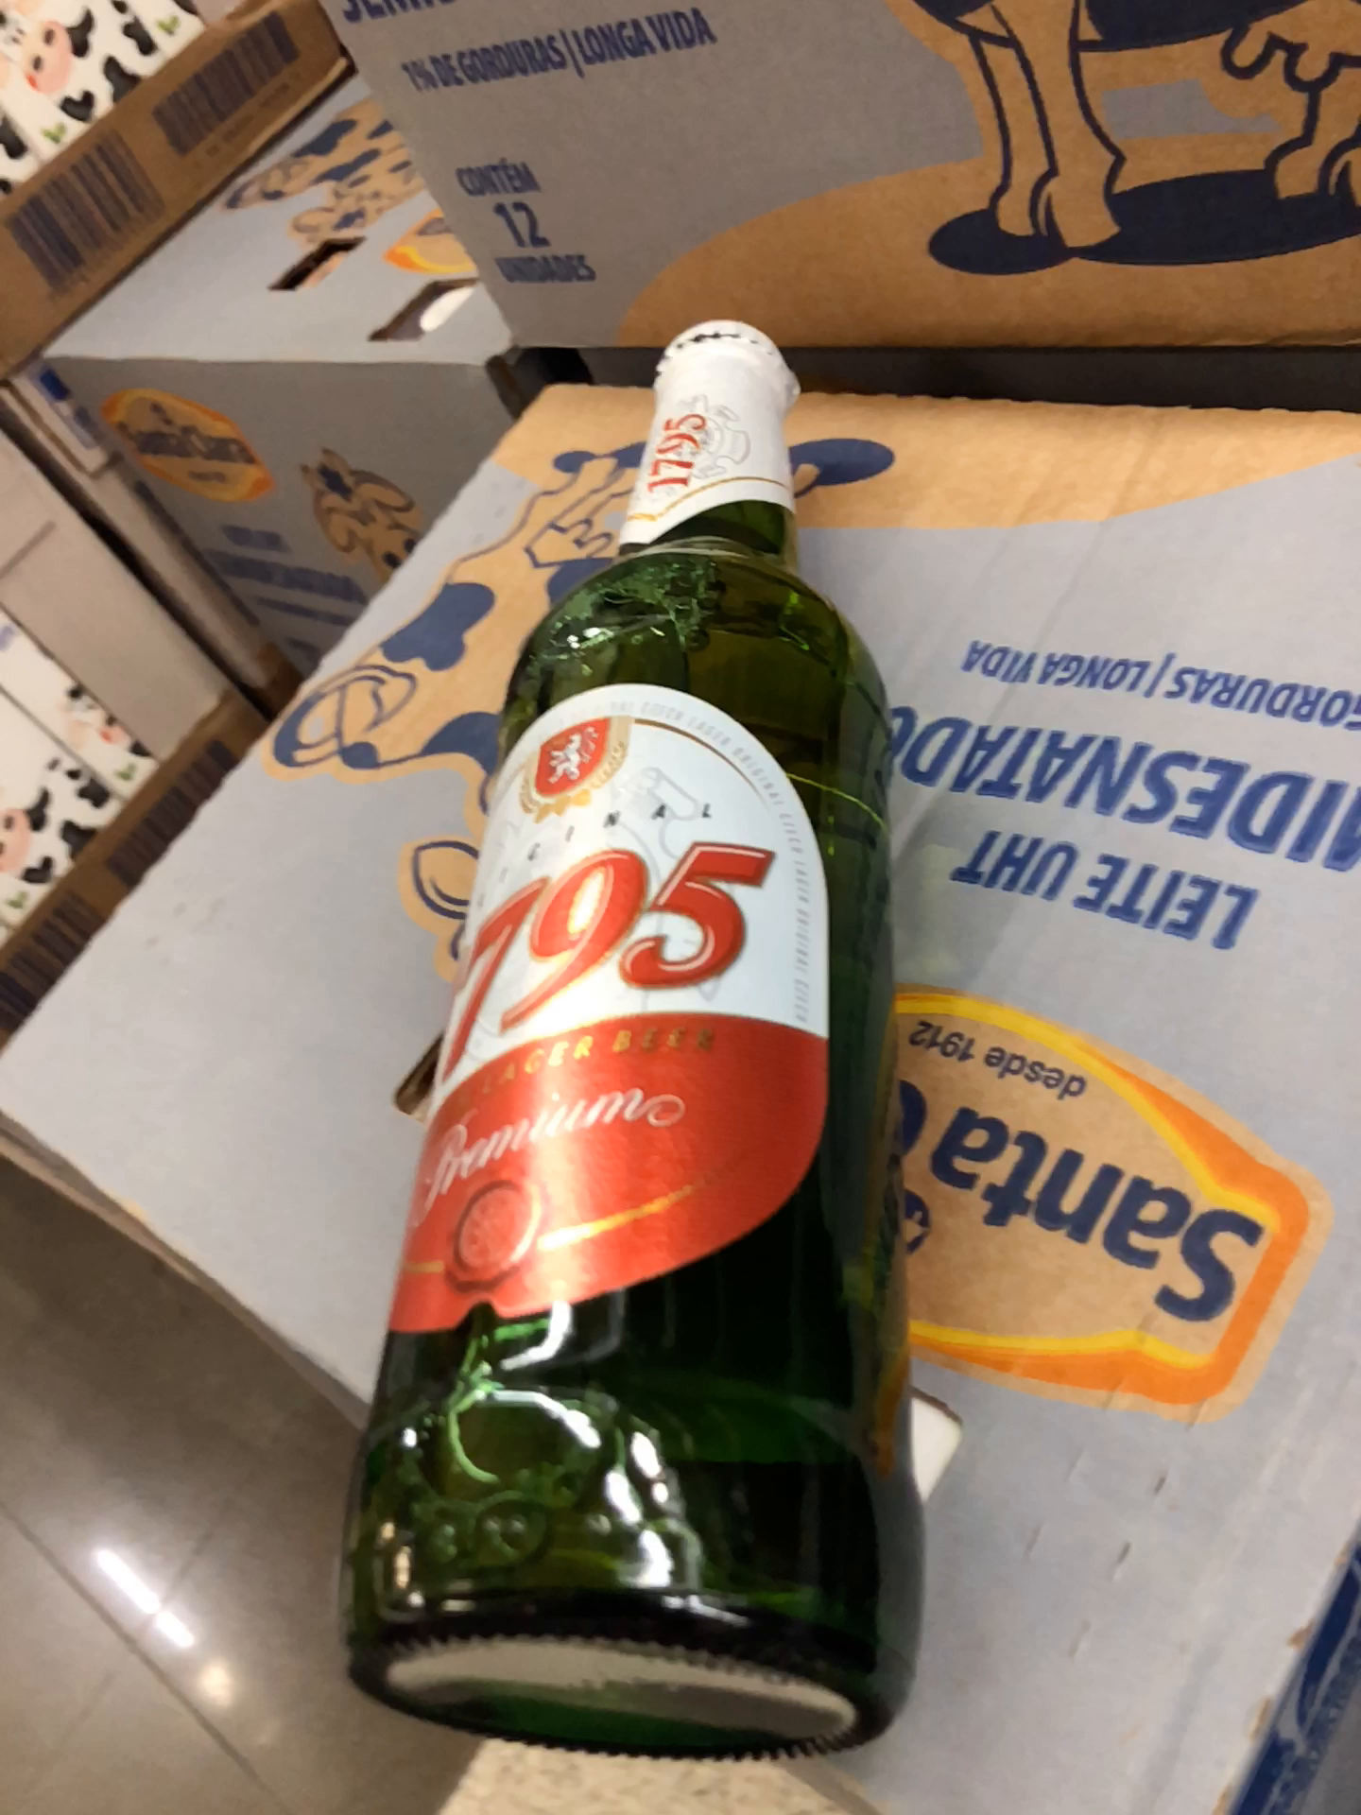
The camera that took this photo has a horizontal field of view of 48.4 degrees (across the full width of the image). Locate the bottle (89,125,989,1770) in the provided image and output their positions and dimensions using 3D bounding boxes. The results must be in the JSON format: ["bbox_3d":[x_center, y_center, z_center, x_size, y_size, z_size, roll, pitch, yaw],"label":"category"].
[{"bbox_3d":[-0.002,-0.024,0.239,0.070,0.060,0.271,-14,46,22],"label":"bottle"}]
